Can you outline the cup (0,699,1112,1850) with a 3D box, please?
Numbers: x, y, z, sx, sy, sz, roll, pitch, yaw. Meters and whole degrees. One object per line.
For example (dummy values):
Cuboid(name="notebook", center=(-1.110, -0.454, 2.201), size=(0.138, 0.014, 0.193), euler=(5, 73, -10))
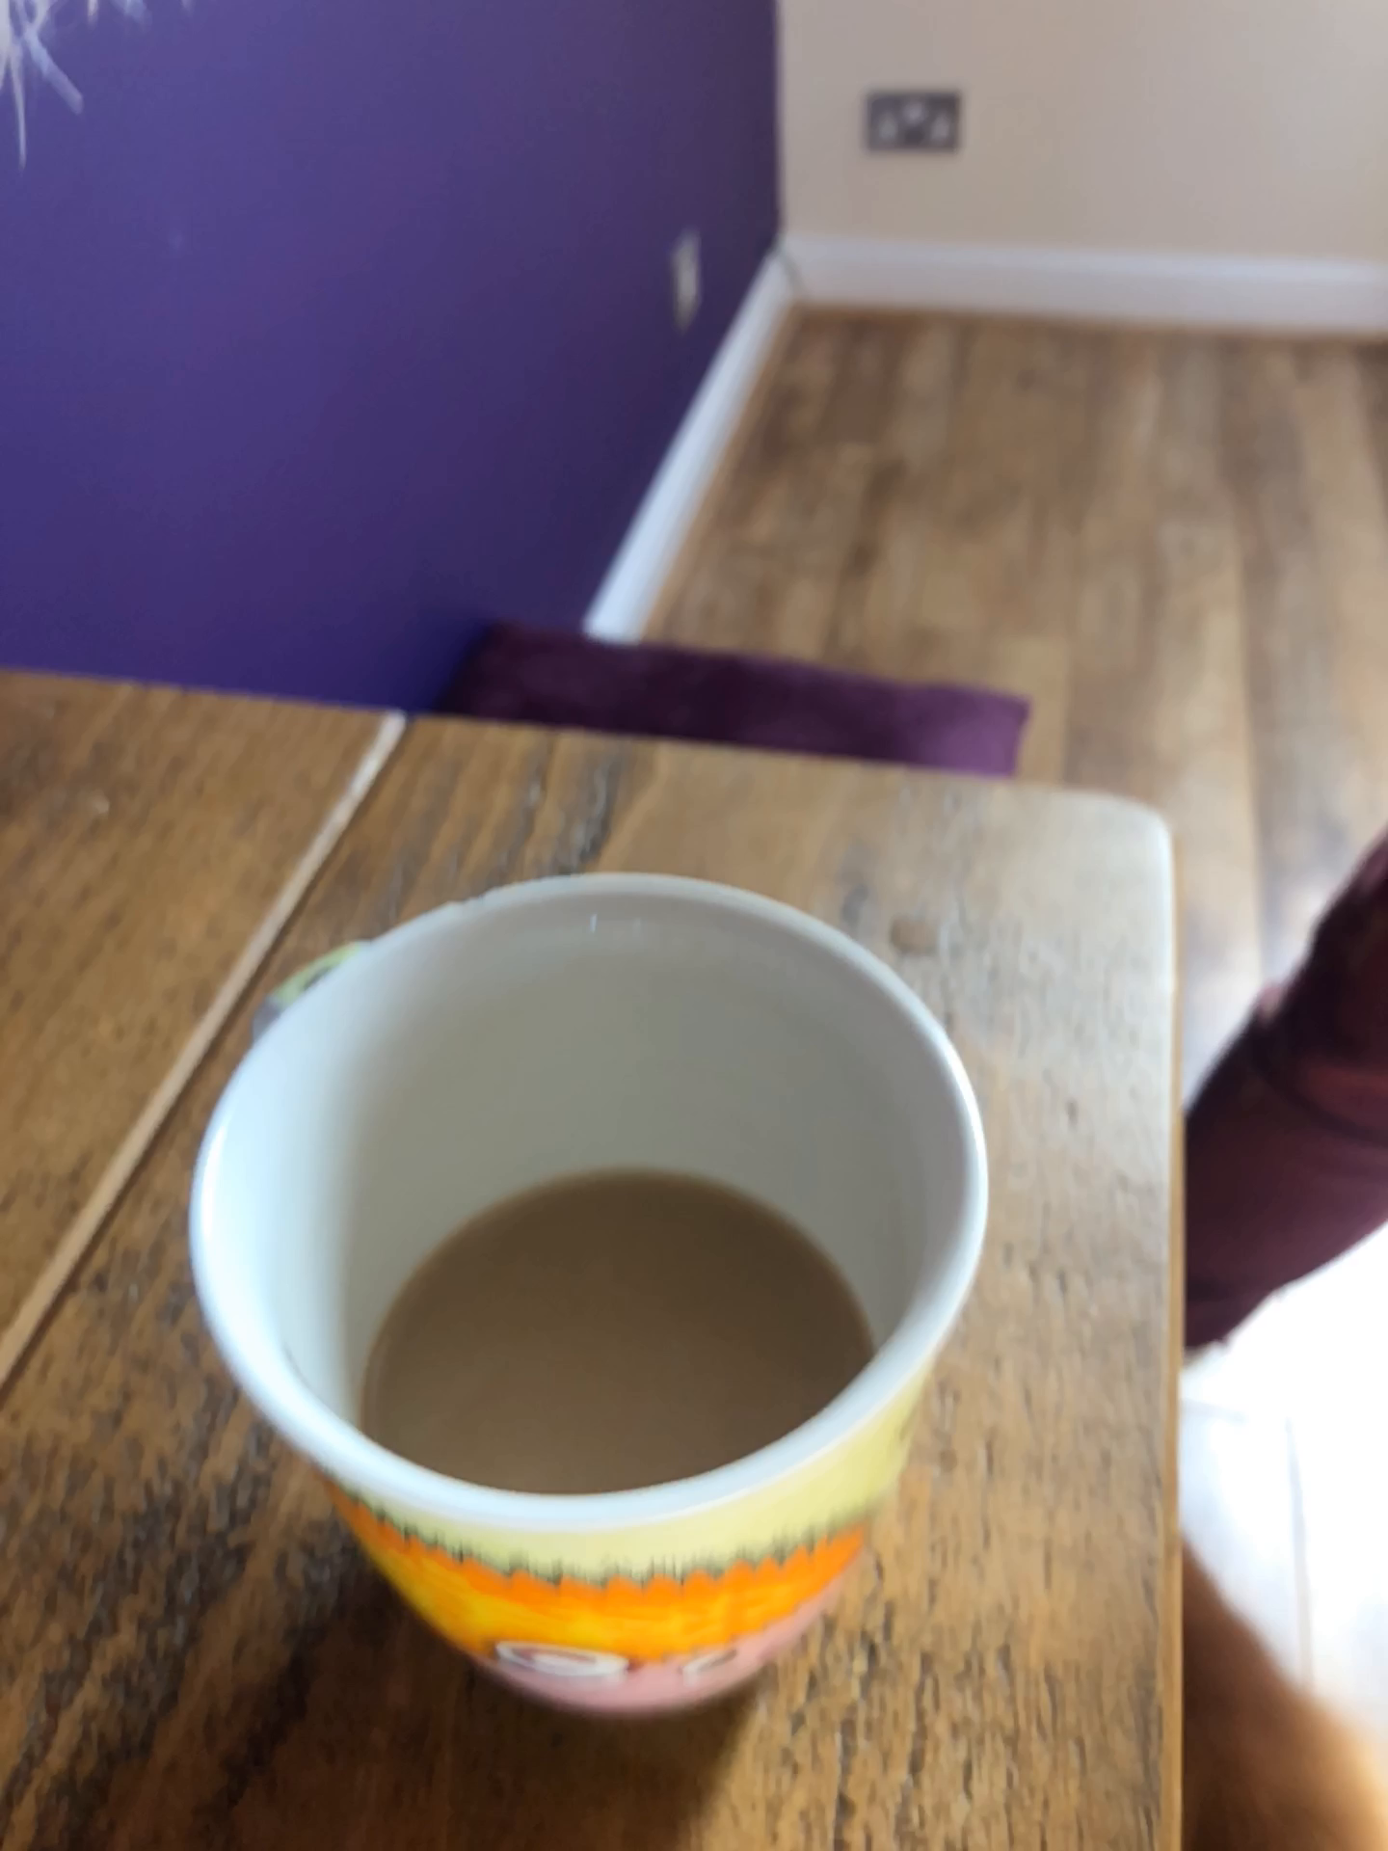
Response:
Cuboid(name="cup", center=(-0.027, 0.050, 0.236), size=(0.127, 0.089, 0.107), euler=(30, 52, 31))
